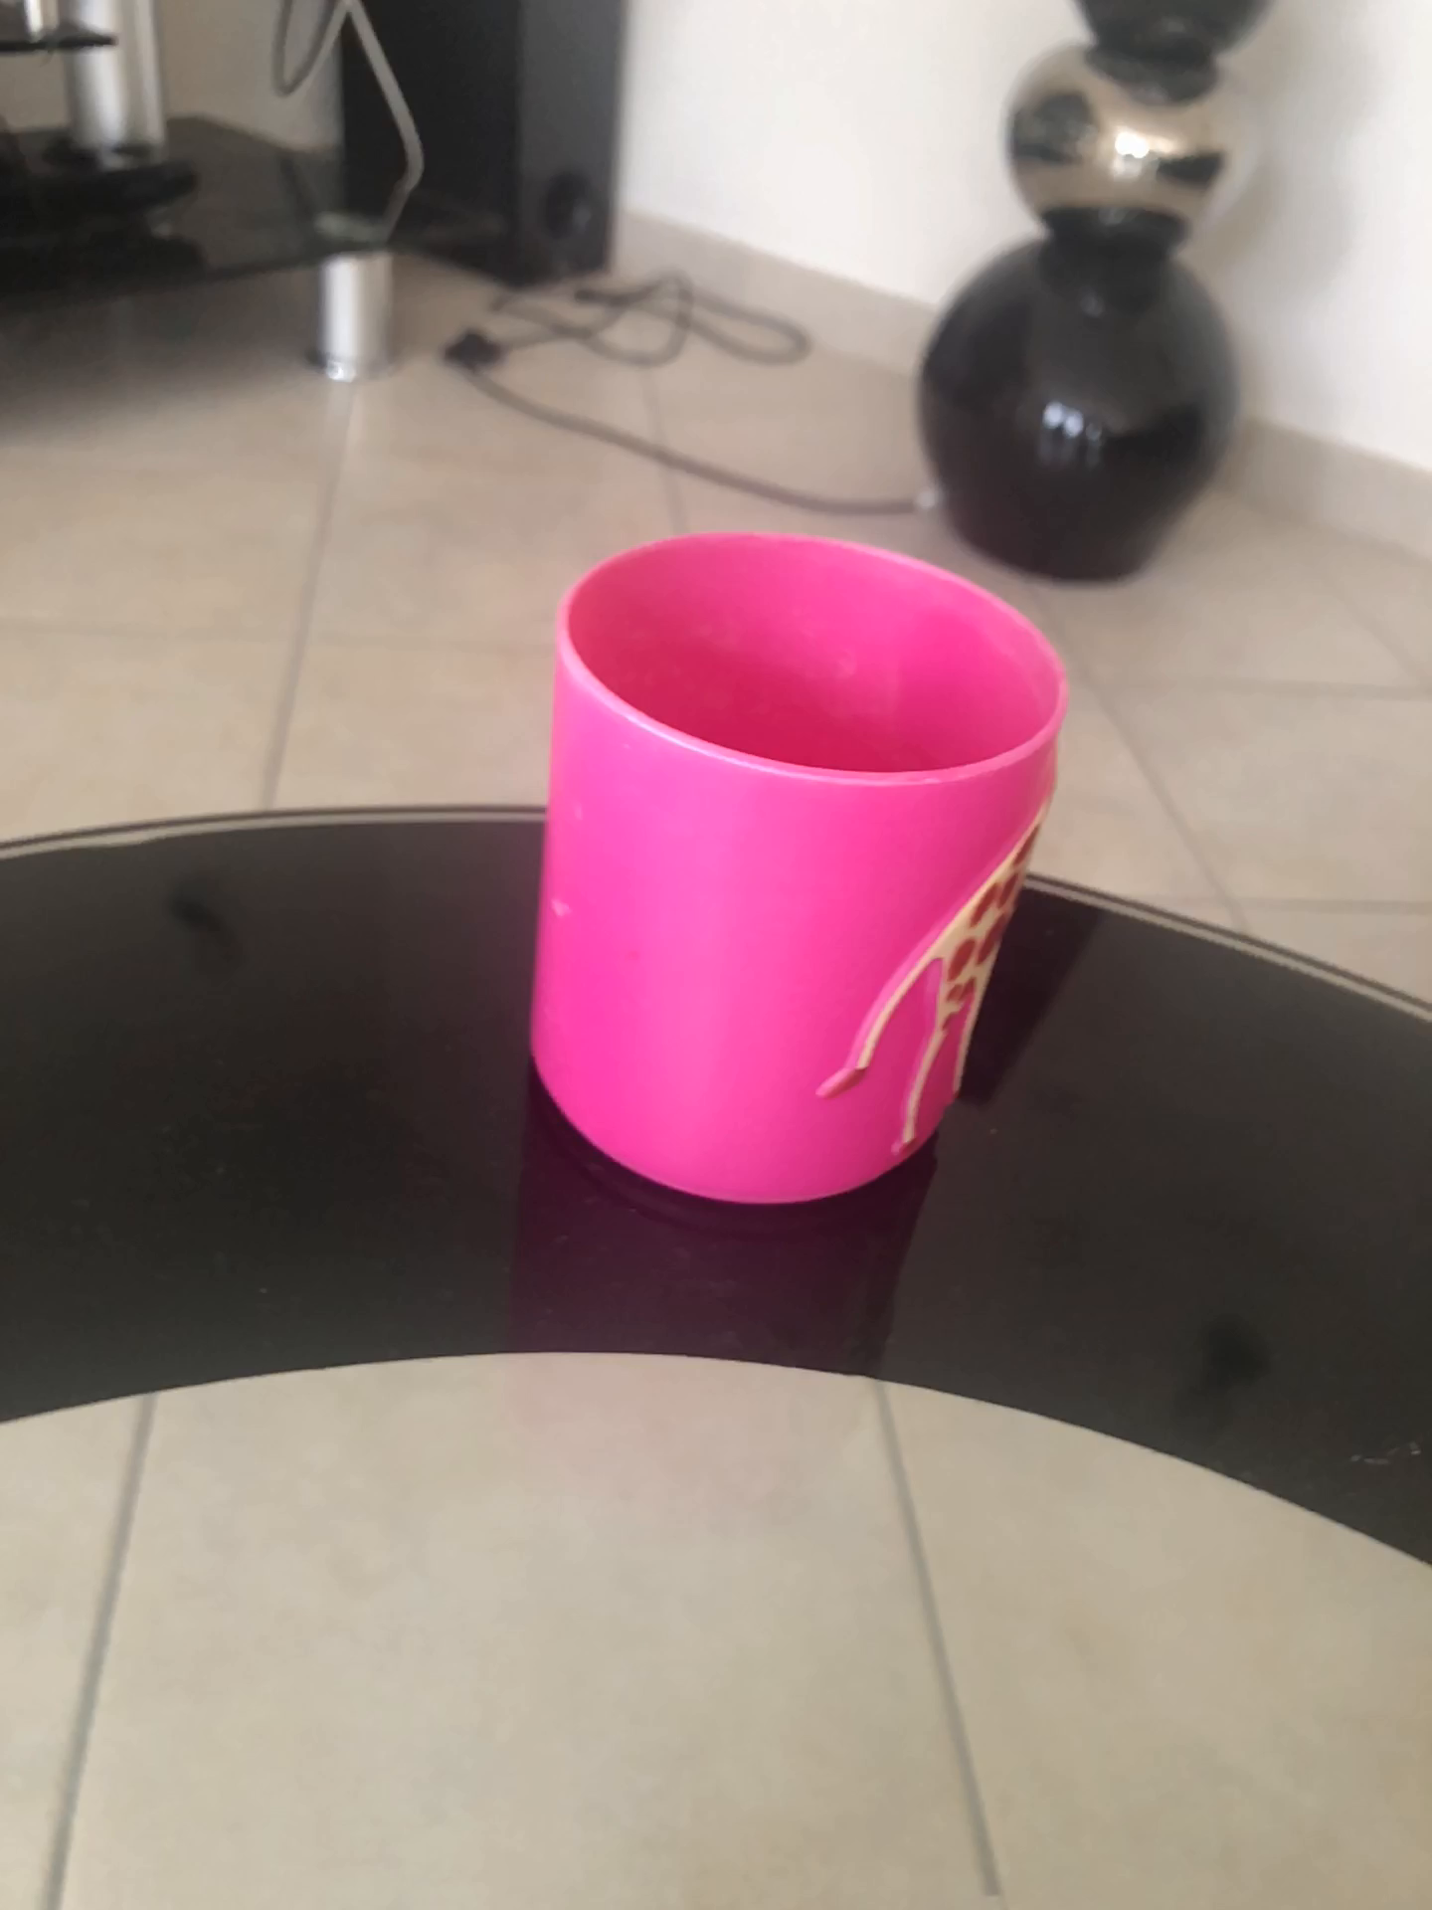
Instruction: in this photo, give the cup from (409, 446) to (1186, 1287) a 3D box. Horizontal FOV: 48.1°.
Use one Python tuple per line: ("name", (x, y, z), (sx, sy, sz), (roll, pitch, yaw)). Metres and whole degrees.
("cup", (0.012, -0.019, 0.234), (0.070, 0.070, 0.091), (24, 40, 20))
